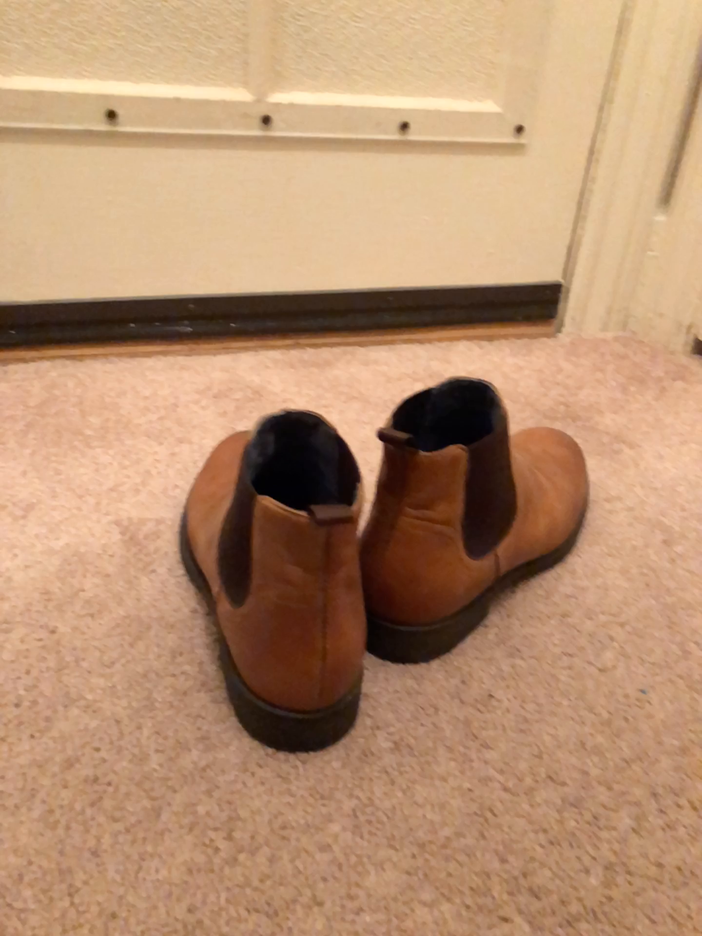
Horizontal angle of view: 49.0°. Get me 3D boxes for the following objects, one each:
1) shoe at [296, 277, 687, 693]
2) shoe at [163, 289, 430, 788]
[{"bbox_3d":[0.111,-0.013,0.556,0.109,0.165,0.313,26,37,31],"label":"shoe"},{"bbox_3d":[-0.059,0.014,0.508,0.109,0.165,0.314,-3,32,-14],"label":"shoe"}]
